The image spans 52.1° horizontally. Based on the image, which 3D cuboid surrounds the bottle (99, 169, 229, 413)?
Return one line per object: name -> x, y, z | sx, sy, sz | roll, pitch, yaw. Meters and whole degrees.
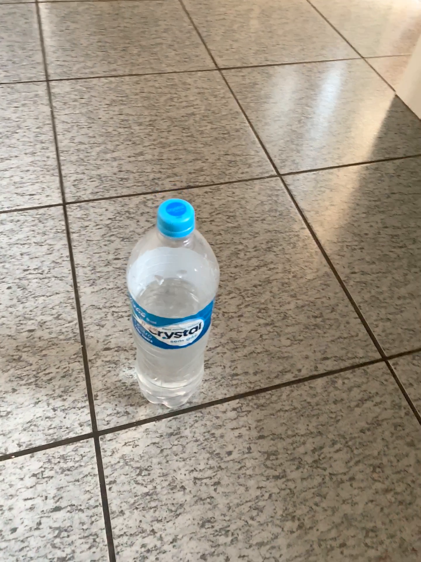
bottle -> -0.043, 0.037, 0.444 | 0.090, 0.299, 0.090 | 3, 53, -4
